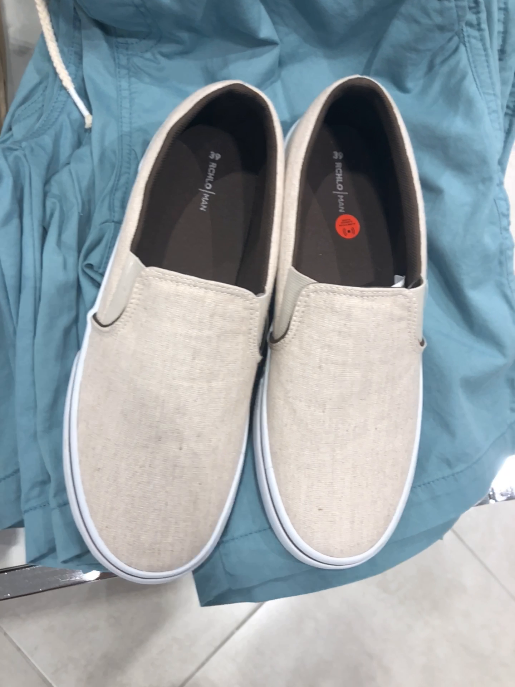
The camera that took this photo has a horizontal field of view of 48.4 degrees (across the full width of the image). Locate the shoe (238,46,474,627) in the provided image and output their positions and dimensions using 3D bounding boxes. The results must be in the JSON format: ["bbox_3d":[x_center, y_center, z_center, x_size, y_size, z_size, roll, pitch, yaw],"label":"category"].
[{"bbox_3d":[0.045,-0.003,0.308,0.100,0.090,0.260,1,87,-8],"label":"shoe"}]

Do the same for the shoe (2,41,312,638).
[{"bbox_3d":[-0.048,-0.001,0.305,0.100,0.090,0.260,9,86,-7],"label":"shoe"}]
